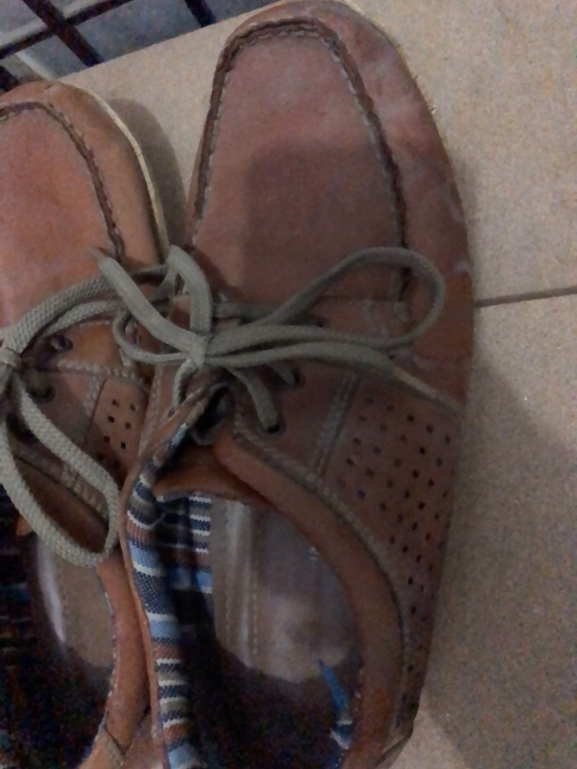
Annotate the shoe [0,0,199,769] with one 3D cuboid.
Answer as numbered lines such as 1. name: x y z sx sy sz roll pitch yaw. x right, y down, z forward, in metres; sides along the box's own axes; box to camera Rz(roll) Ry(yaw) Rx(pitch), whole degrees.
1. shoe: -0.114 0.001 0.254 0.100 0.100 0.287 -11 76 27

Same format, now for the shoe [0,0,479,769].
1. shoe: -0.008 -0.008 0.202 0.100 0.100 0.280 -5 78 29
